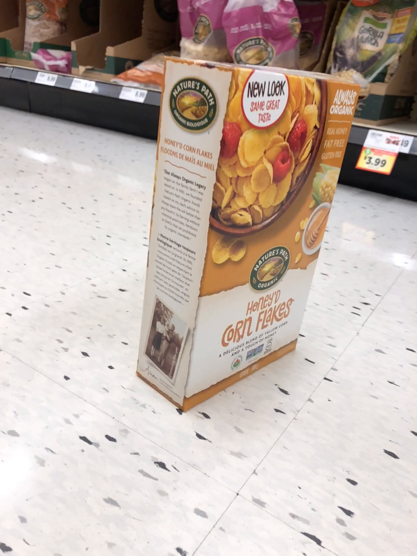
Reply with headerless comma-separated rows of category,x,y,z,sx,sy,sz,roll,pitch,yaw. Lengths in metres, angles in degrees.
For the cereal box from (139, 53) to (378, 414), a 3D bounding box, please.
cereal box,0.036,-0.035,0.364,0.161,0.239,0.060,-17,35,-43
